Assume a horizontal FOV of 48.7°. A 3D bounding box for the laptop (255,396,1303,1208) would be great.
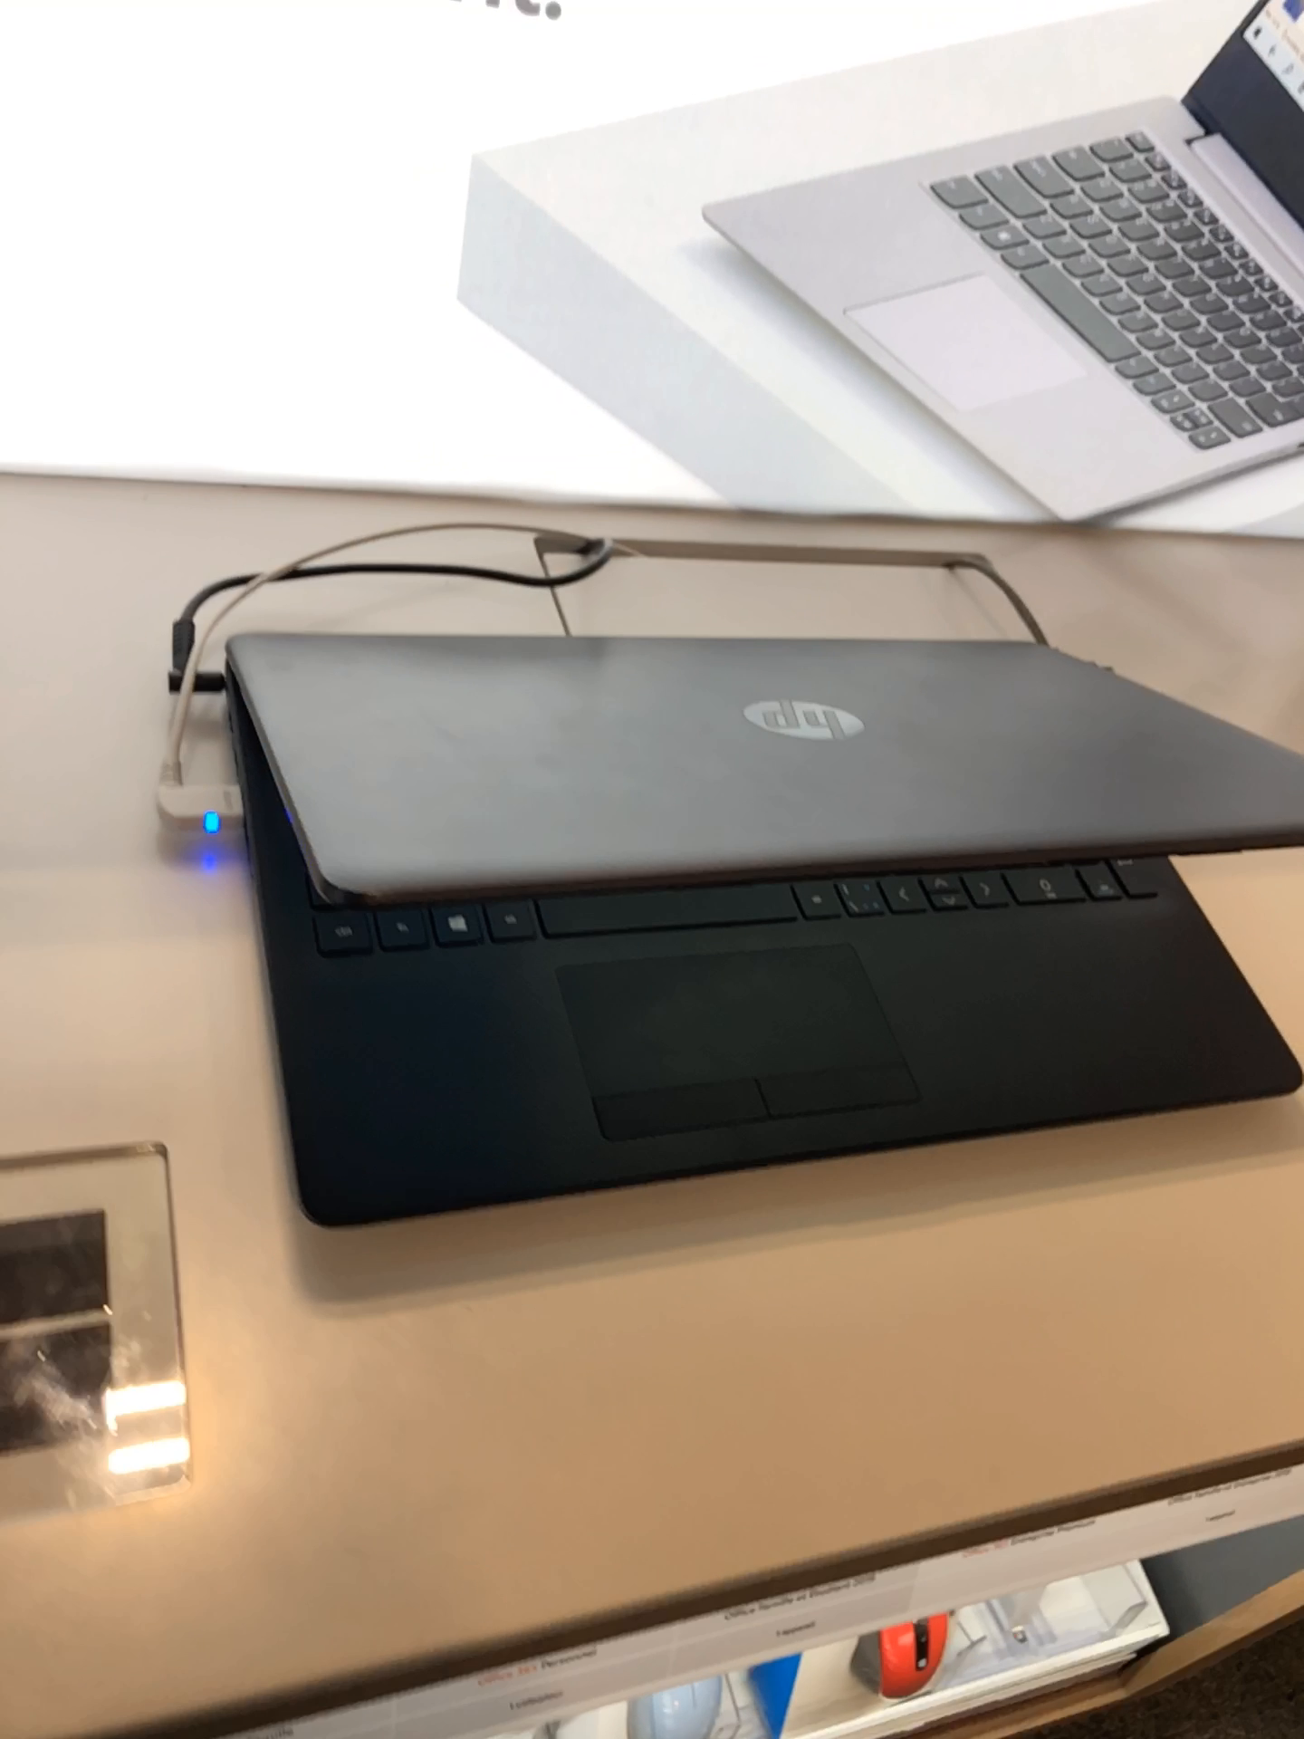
[{"bbox_3d":[0.058,-0.038,0.501,0.352,0.107,0.238,-3,50,-21],"label":"laptop"}]
